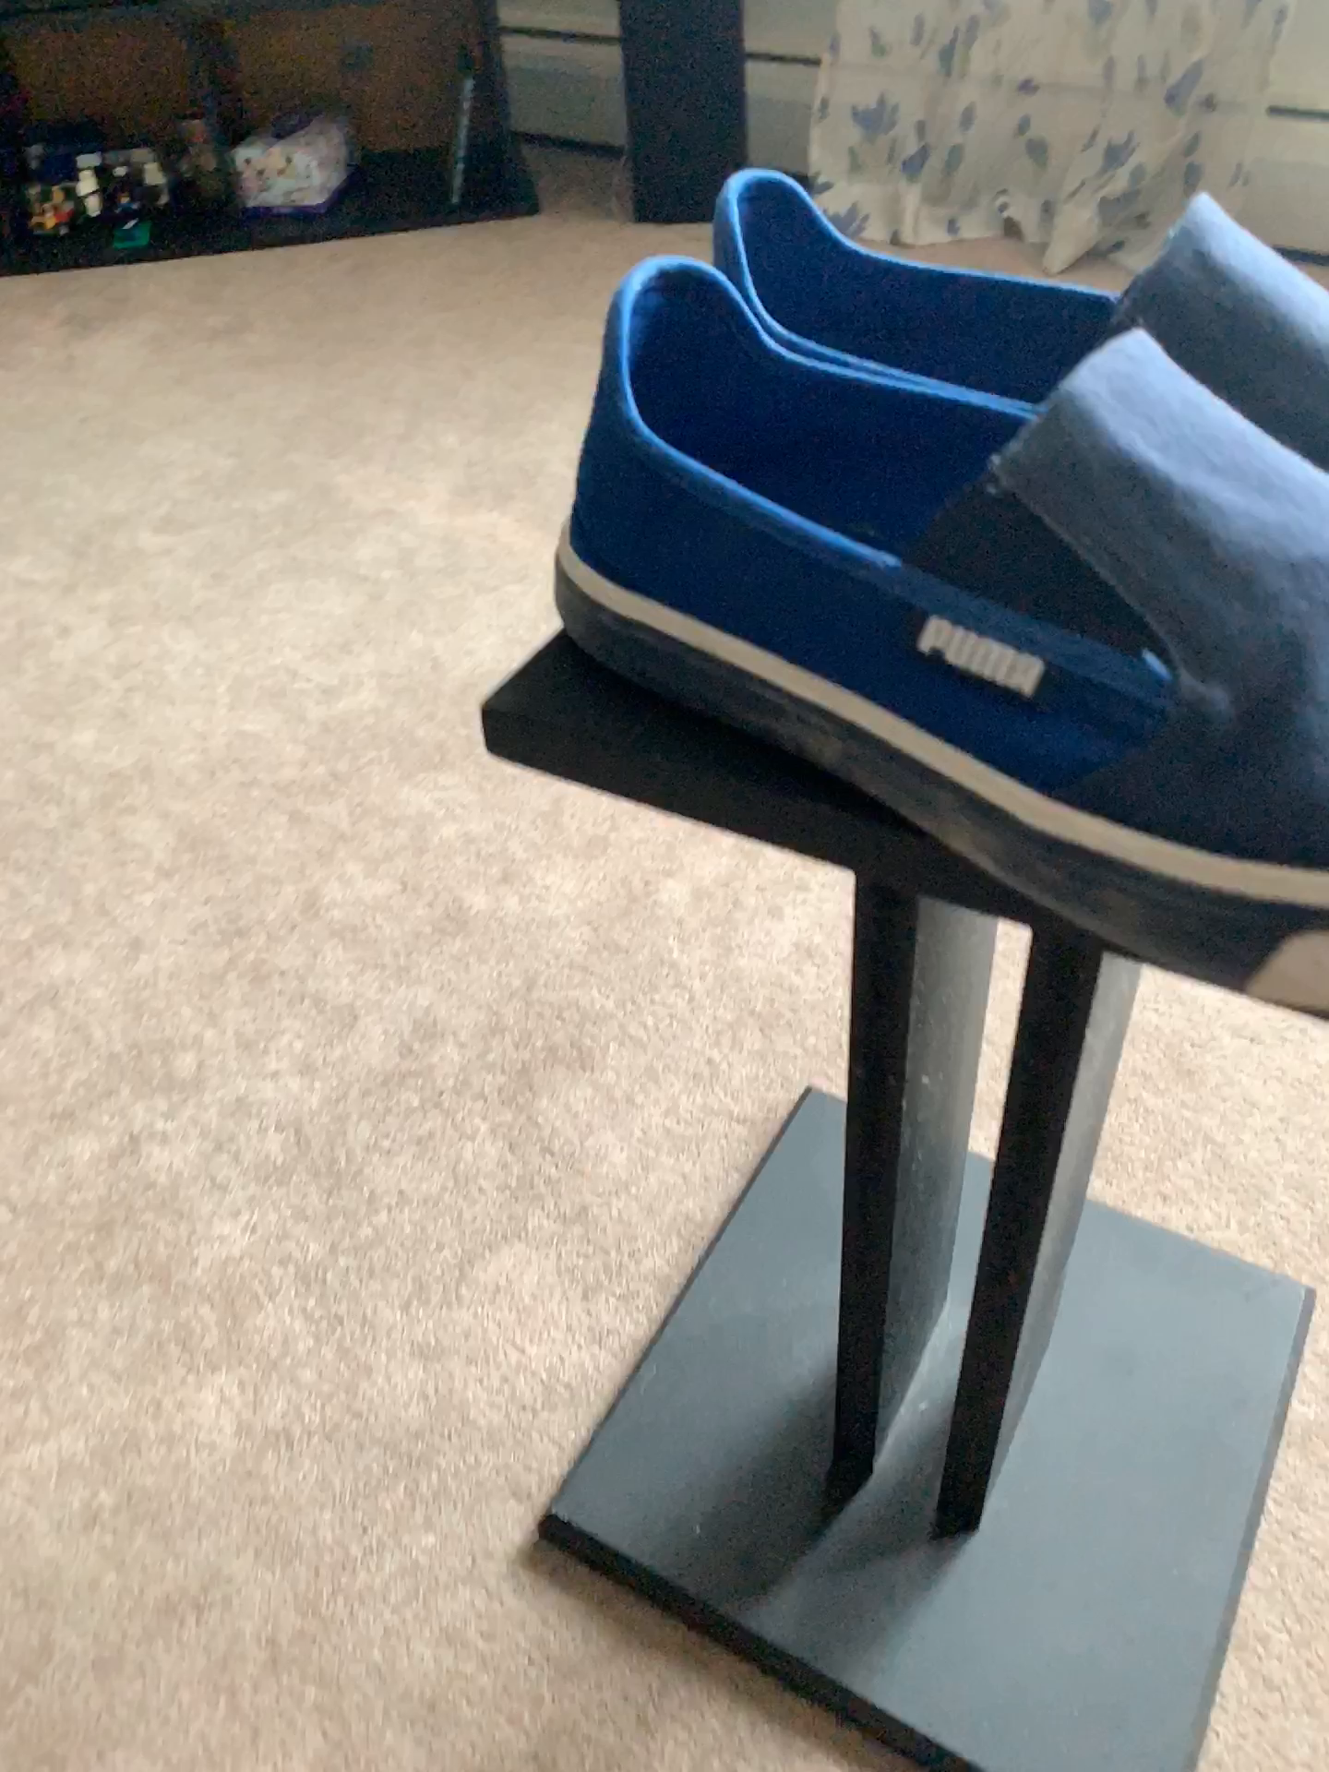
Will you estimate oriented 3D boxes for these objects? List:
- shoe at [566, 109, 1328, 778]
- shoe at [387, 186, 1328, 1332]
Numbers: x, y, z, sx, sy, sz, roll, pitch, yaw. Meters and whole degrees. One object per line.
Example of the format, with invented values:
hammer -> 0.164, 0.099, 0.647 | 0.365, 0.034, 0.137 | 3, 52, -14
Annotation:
shoe -> 0.140, -0.126, 0.337 | 0.300, 0.079, 0.121 | 16, 45, 21
shoe -> 0.095, -0.061, 0.274 | 0.301, 0.079, 0.121 | 28, 51, 32
